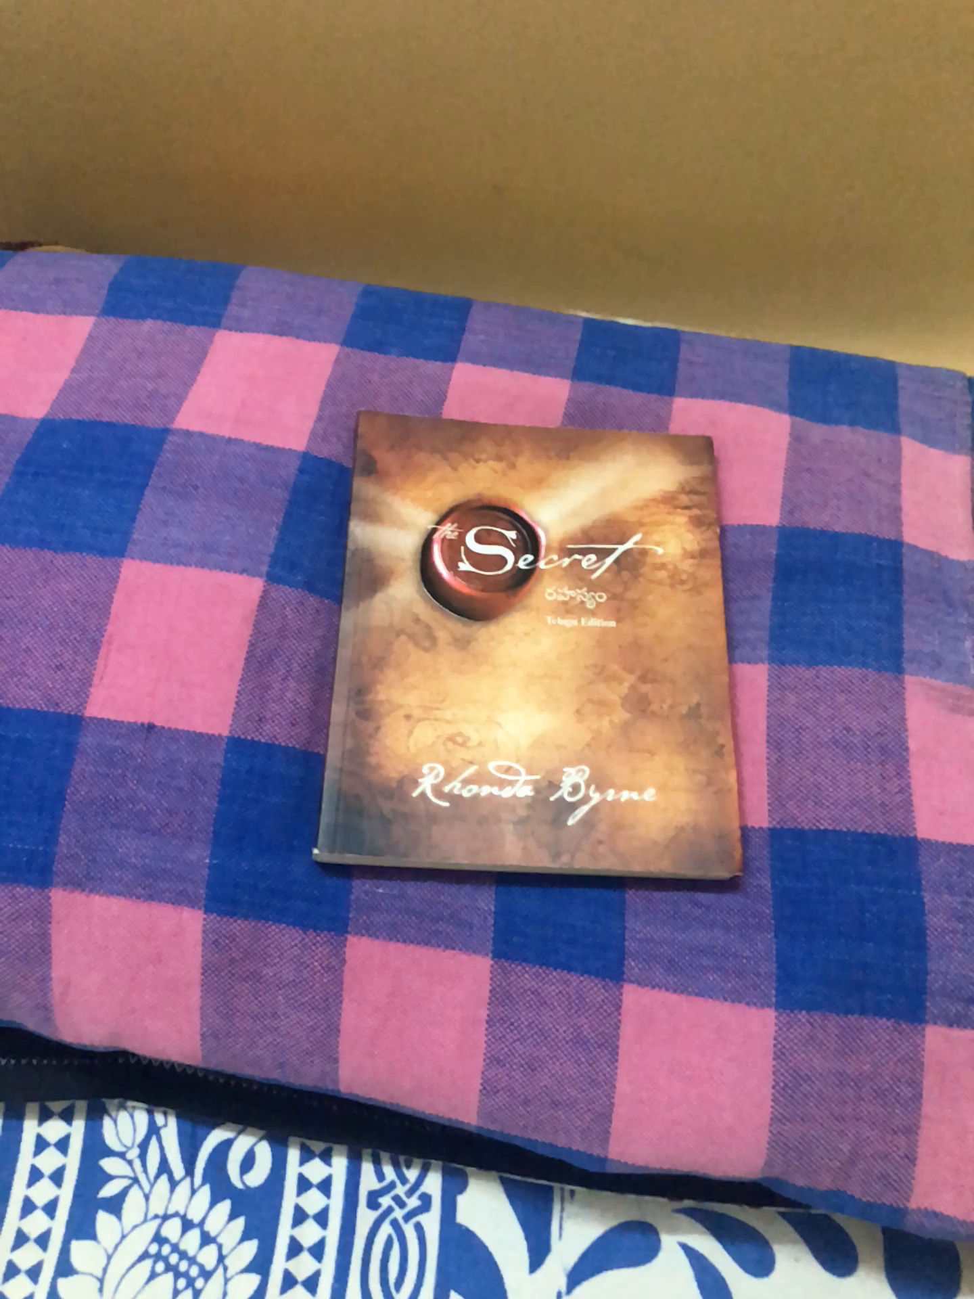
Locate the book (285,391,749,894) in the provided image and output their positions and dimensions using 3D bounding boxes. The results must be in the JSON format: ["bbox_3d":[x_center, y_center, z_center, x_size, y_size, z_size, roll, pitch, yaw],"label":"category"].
[{"bbox_3d":[0.014,-0.011,0.399,0.150,0.020,0.190,3,64,2],"label":"book"}]
